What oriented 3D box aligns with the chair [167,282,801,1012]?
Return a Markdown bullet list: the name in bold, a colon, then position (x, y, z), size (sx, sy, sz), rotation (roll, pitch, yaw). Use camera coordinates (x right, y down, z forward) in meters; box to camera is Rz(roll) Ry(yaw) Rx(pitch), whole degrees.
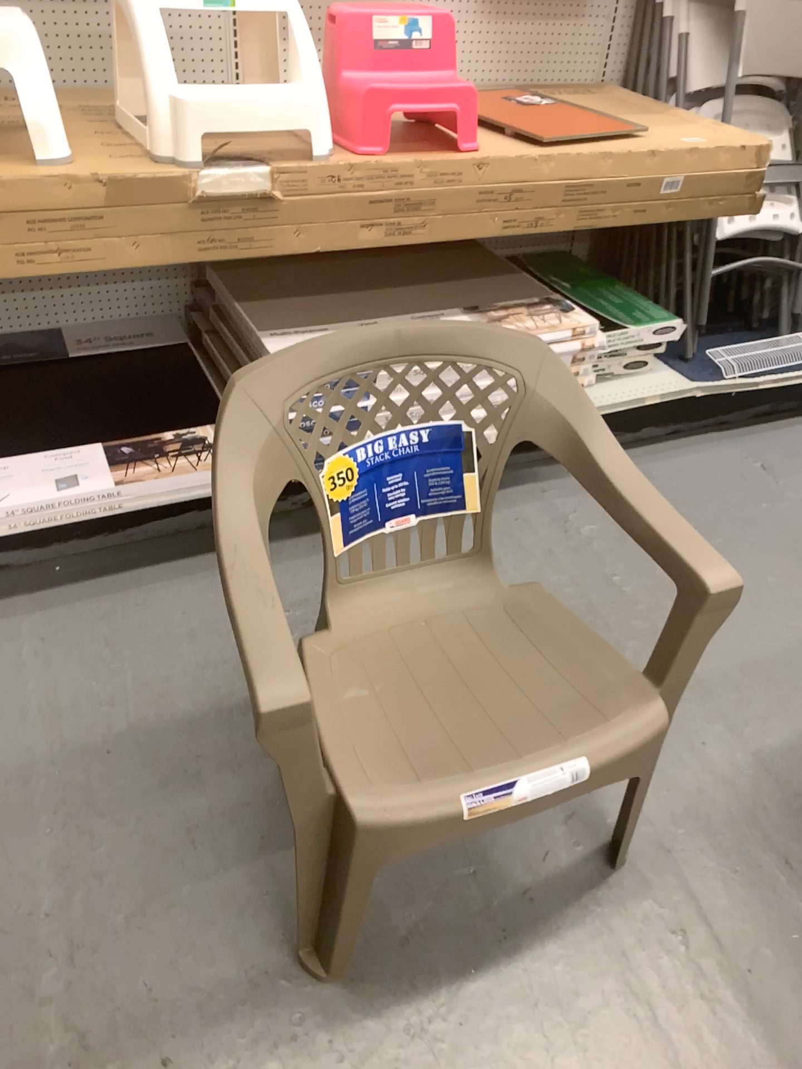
- **chair**: position (0.101, 0.150, 1.339), size (0.767, 0.878, 0.590), rotation (-11, 40, -19)
